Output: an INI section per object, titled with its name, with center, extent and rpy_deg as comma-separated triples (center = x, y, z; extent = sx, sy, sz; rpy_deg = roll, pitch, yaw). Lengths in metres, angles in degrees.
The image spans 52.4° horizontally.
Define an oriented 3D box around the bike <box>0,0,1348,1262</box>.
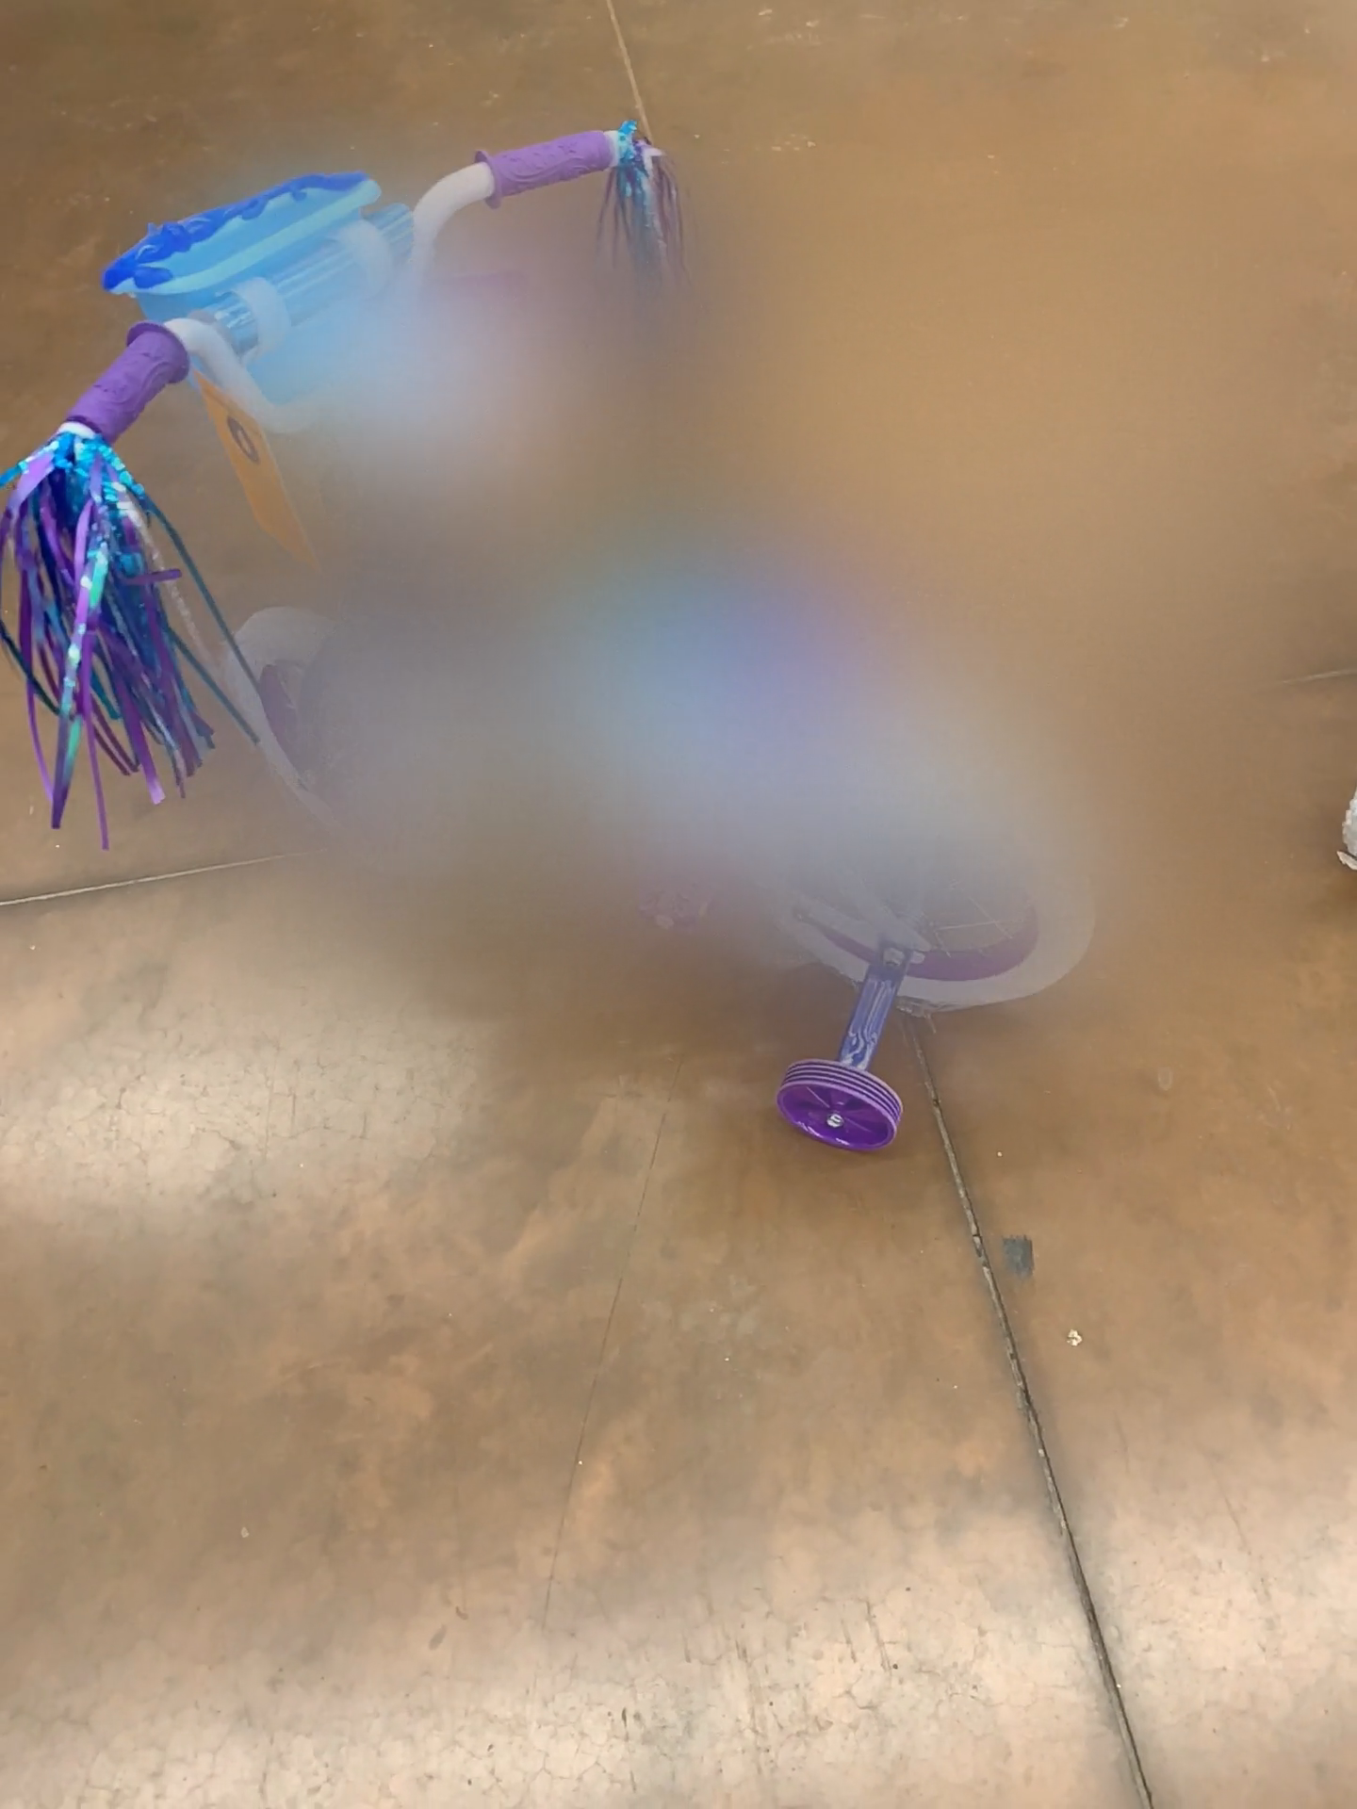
[bike]
center = -0.065, -0.188, 1.012
extent = 0.805, 0.634, 0.440
rpy_deg = 18, 59, 13
